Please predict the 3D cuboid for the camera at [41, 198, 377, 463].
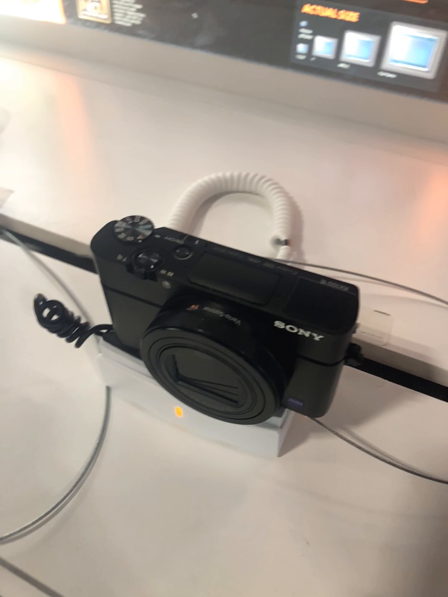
[{"bbox_3d":[-0.006,0.011,0.192,0.109,0.060,0.040,19,48,16],"label":"camera"}]
